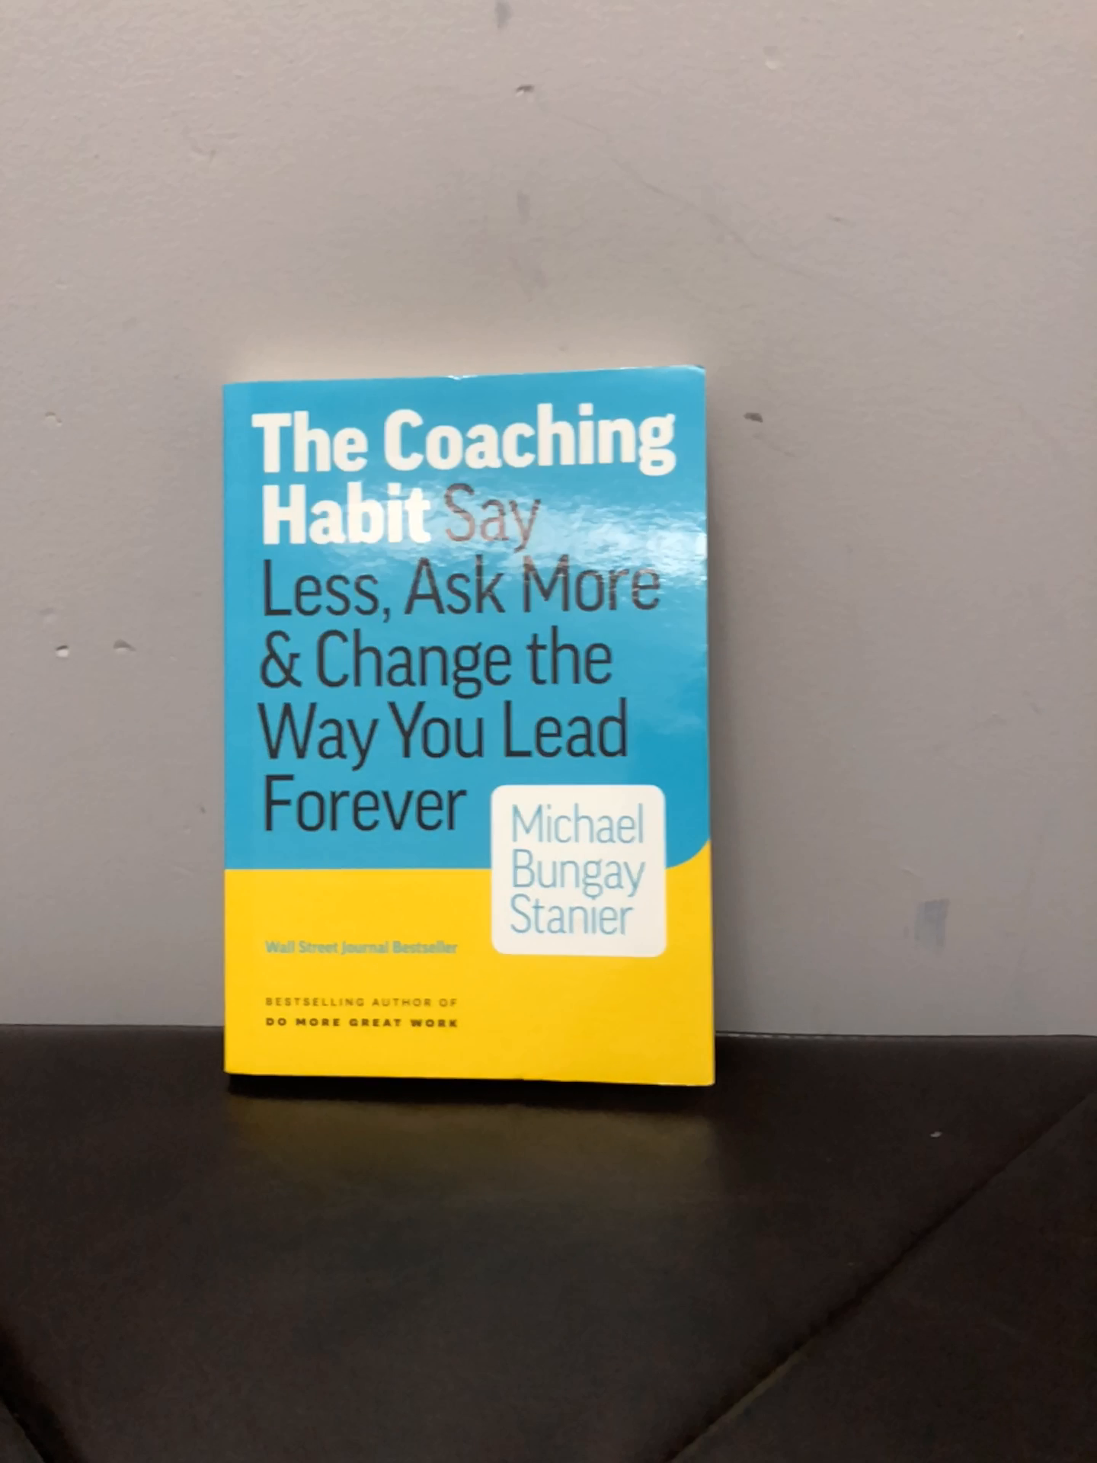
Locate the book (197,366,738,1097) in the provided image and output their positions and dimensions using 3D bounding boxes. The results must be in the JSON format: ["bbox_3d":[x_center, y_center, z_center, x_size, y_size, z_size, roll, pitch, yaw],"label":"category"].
[{"bbox_3d":[-0.021,-0.002,0.349,0.145,0.196,0.030,1,-3,4],"label":"book"}]
